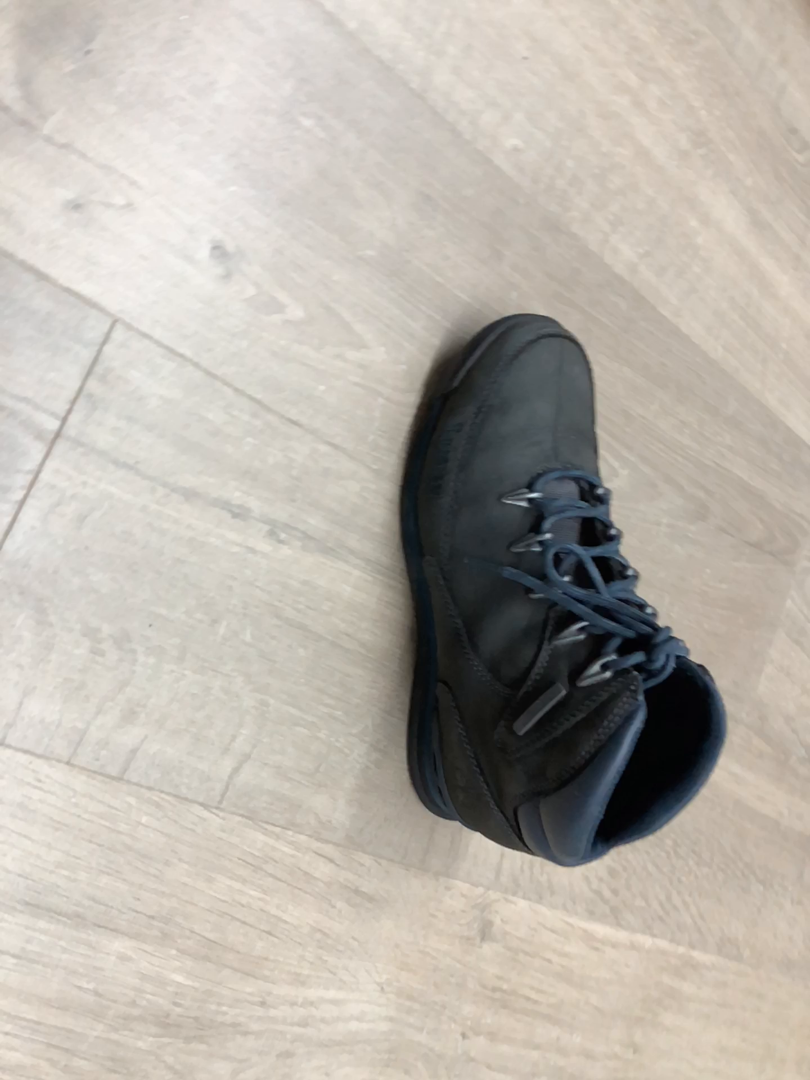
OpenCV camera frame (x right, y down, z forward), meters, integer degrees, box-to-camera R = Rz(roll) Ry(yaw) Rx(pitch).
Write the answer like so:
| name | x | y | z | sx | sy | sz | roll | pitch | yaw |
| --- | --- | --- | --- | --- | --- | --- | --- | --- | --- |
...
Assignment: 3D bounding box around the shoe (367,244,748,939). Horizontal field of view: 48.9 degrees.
| name | x | y | z | sx | sy | sz | roll | pitch | yaw |
| --- | --- | --- | --- | --- | --- | --- | --- | --- | --- |
| shoe | 0.071 | 0.021 | 0.453 | 0.110 | 0.130 | 0.290 | 3 | 93 | -33 |
